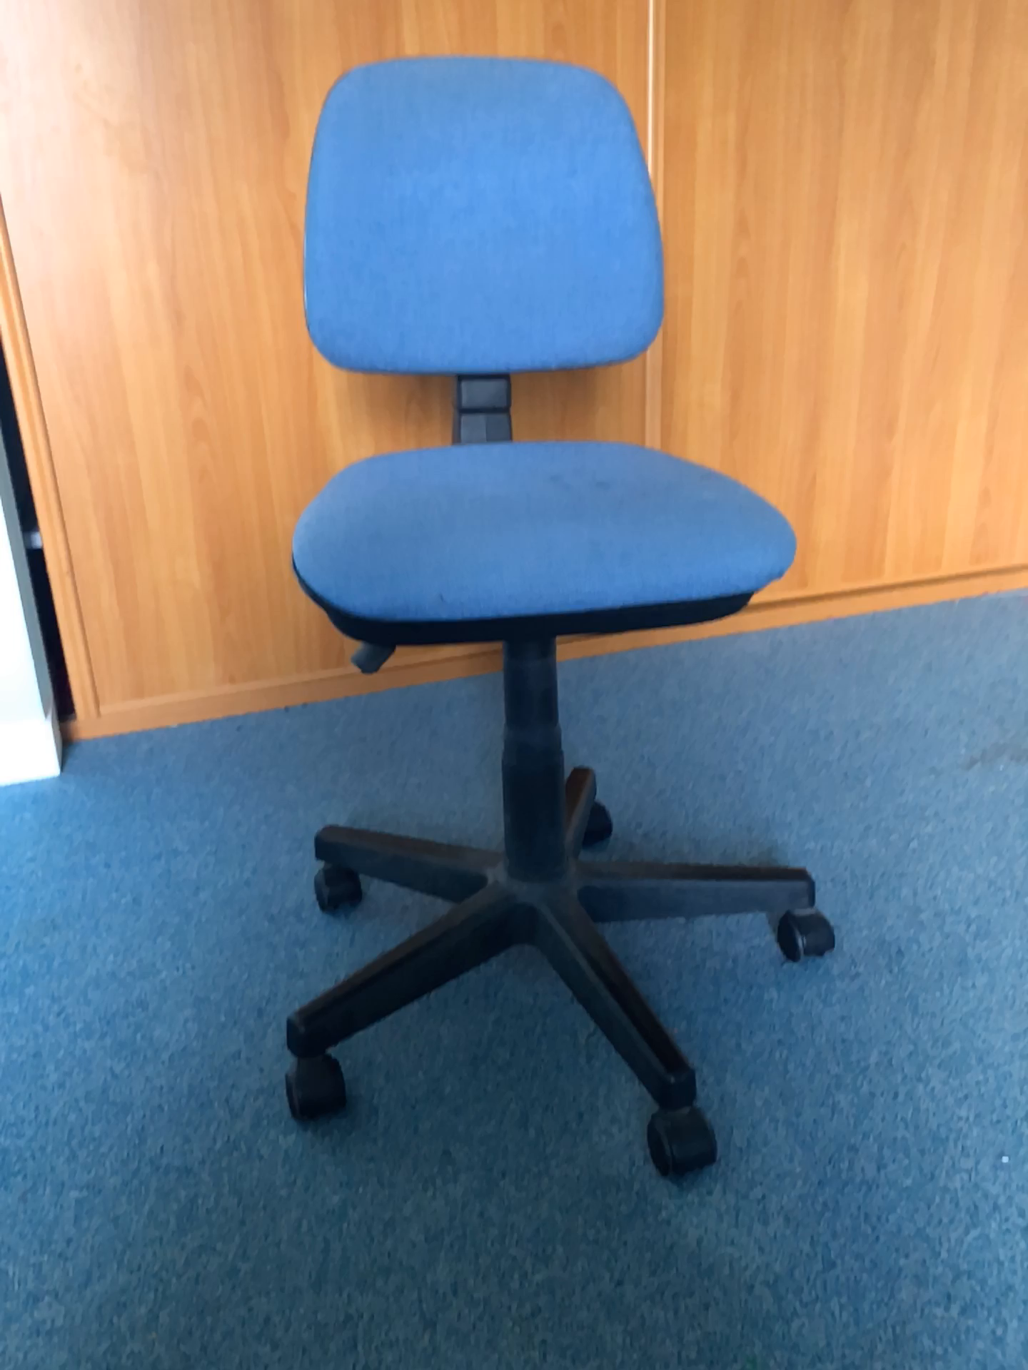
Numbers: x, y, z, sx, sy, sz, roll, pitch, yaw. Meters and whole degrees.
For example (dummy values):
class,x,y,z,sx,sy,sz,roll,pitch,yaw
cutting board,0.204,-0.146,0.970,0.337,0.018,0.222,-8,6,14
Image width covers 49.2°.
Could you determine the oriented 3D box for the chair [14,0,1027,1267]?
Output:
class,x,y,z,sx,sy,sz,roll,pitch,yaw
chair,0.023,-0.143,1.112,0.651,0.915,0.763,-6,22,-9
